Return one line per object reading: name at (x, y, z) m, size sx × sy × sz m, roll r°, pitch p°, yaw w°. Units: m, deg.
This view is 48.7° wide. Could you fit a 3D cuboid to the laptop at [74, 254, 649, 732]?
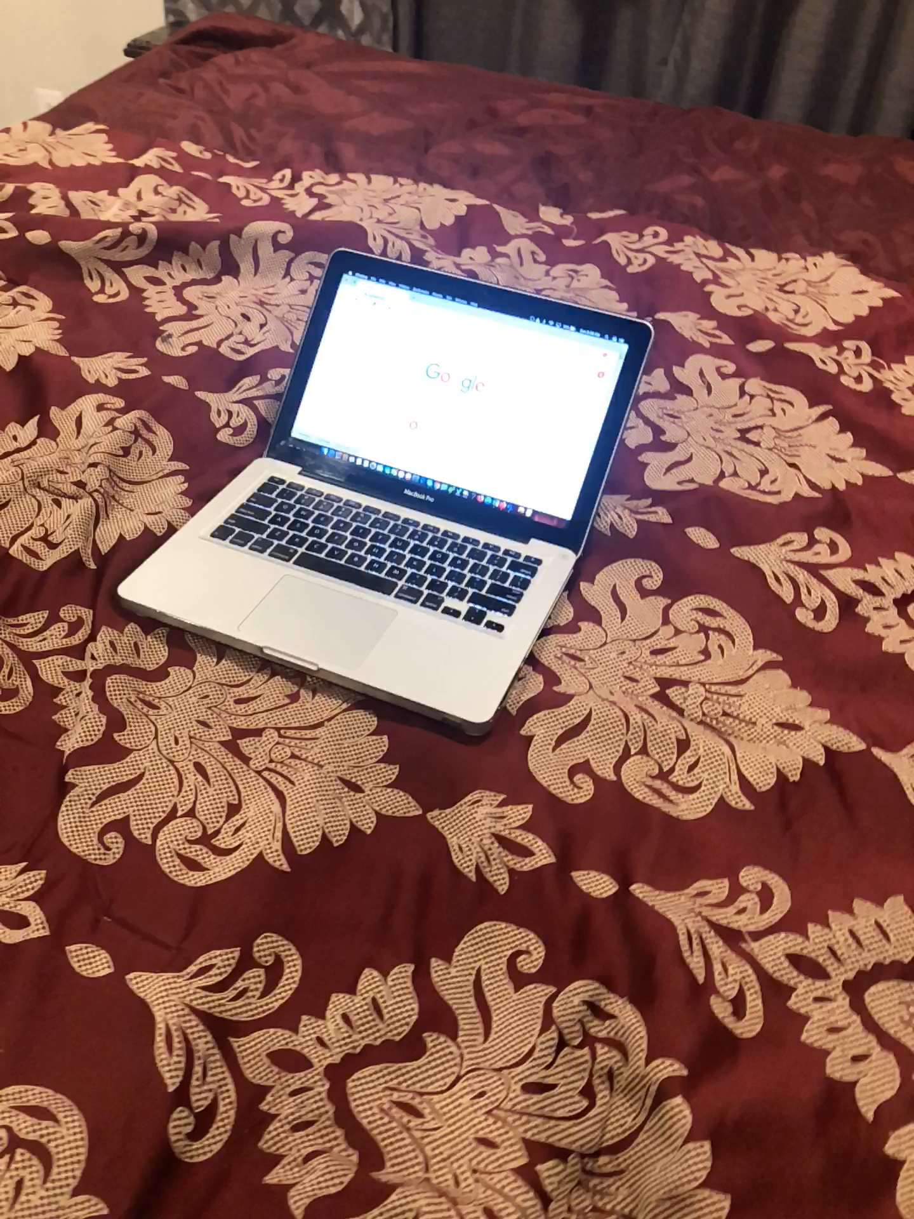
laptop at (-0.047, -0.116, 0.775) m, size 0.292 × 0.133 × 0.344 m, roll 18°, pitch 44°, yaw 14°
